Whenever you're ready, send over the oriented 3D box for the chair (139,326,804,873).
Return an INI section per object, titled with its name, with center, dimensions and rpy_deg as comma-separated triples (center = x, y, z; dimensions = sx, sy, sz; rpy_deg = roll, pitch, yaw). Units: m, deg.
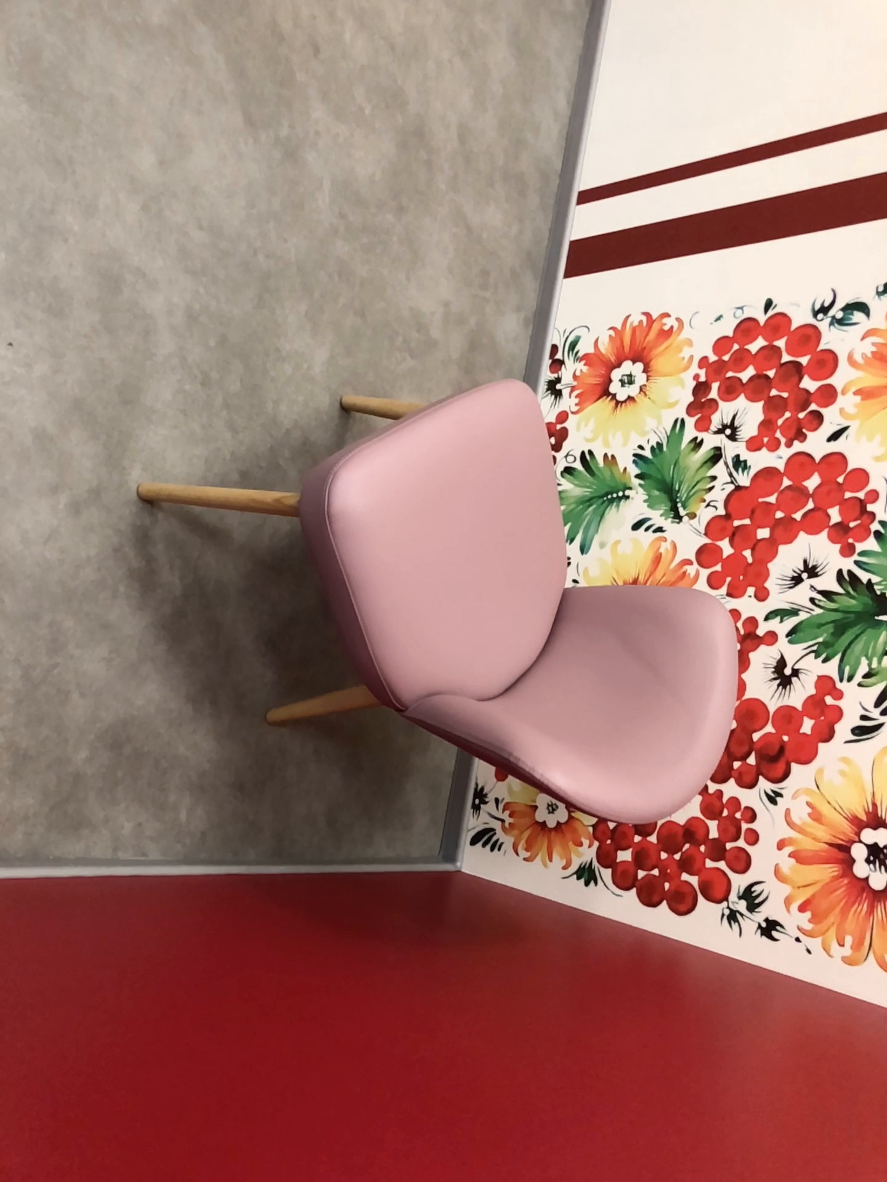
[chair]
center = 0.046, -0.025, 1.520
dimensions = 0.513, 0.785, 0.540
rpy_deg = -36, 118, -41
